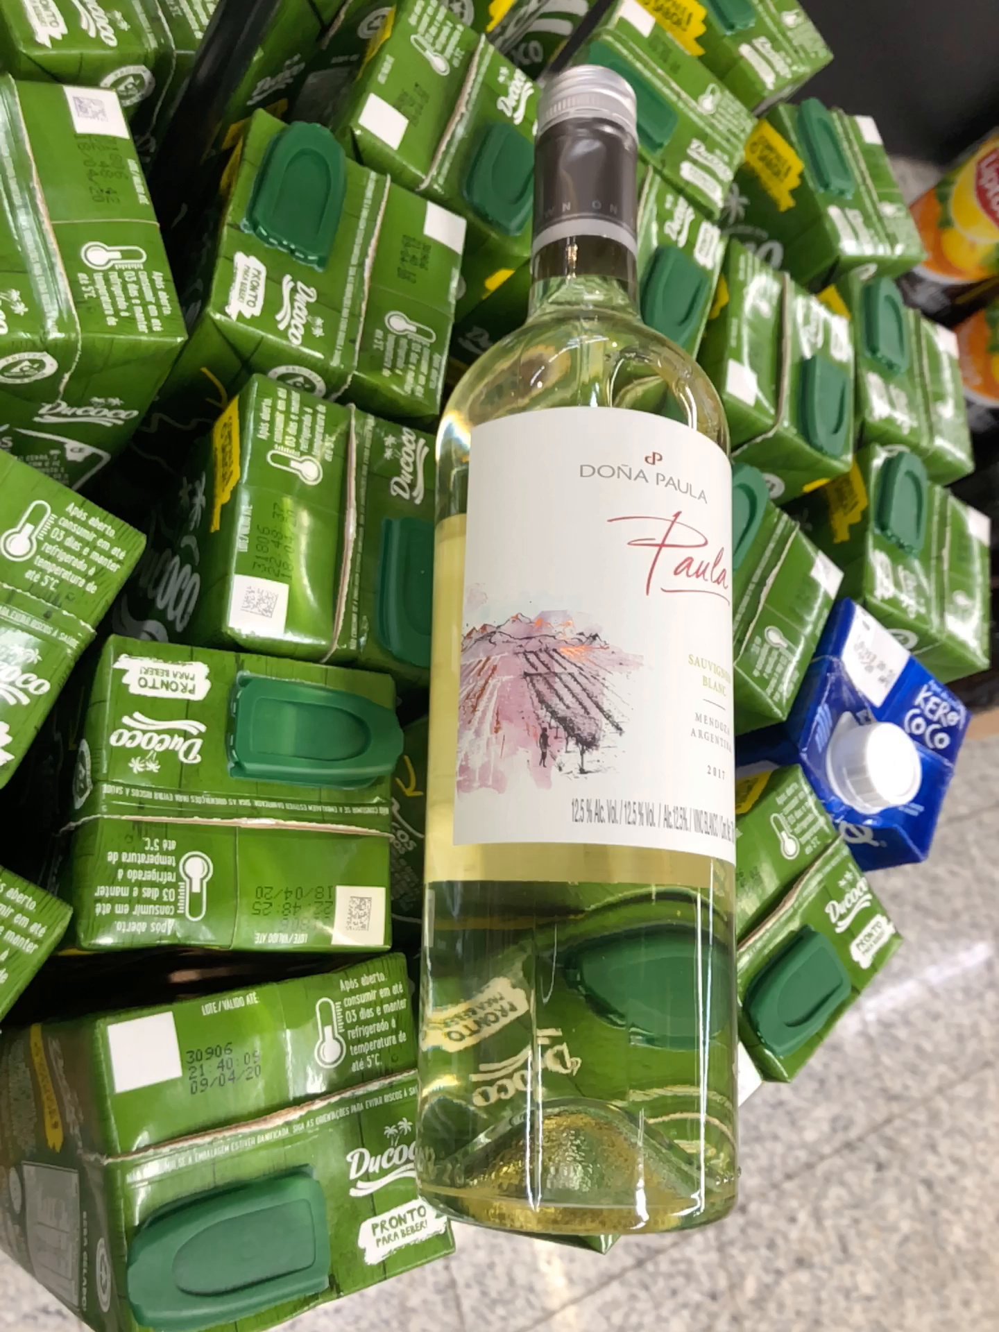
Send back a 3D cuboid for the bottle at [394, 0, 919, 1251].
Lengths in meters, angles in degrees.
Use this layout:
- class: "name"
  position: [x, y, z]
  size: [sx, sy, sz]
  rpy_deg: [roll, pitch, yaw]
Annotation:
- class: "bottle"
  position: [0.030, -0.045, 0.282]
  size: [0.080, 0.070, 0.331]
  rpy_deg: [12, 67, -30]
